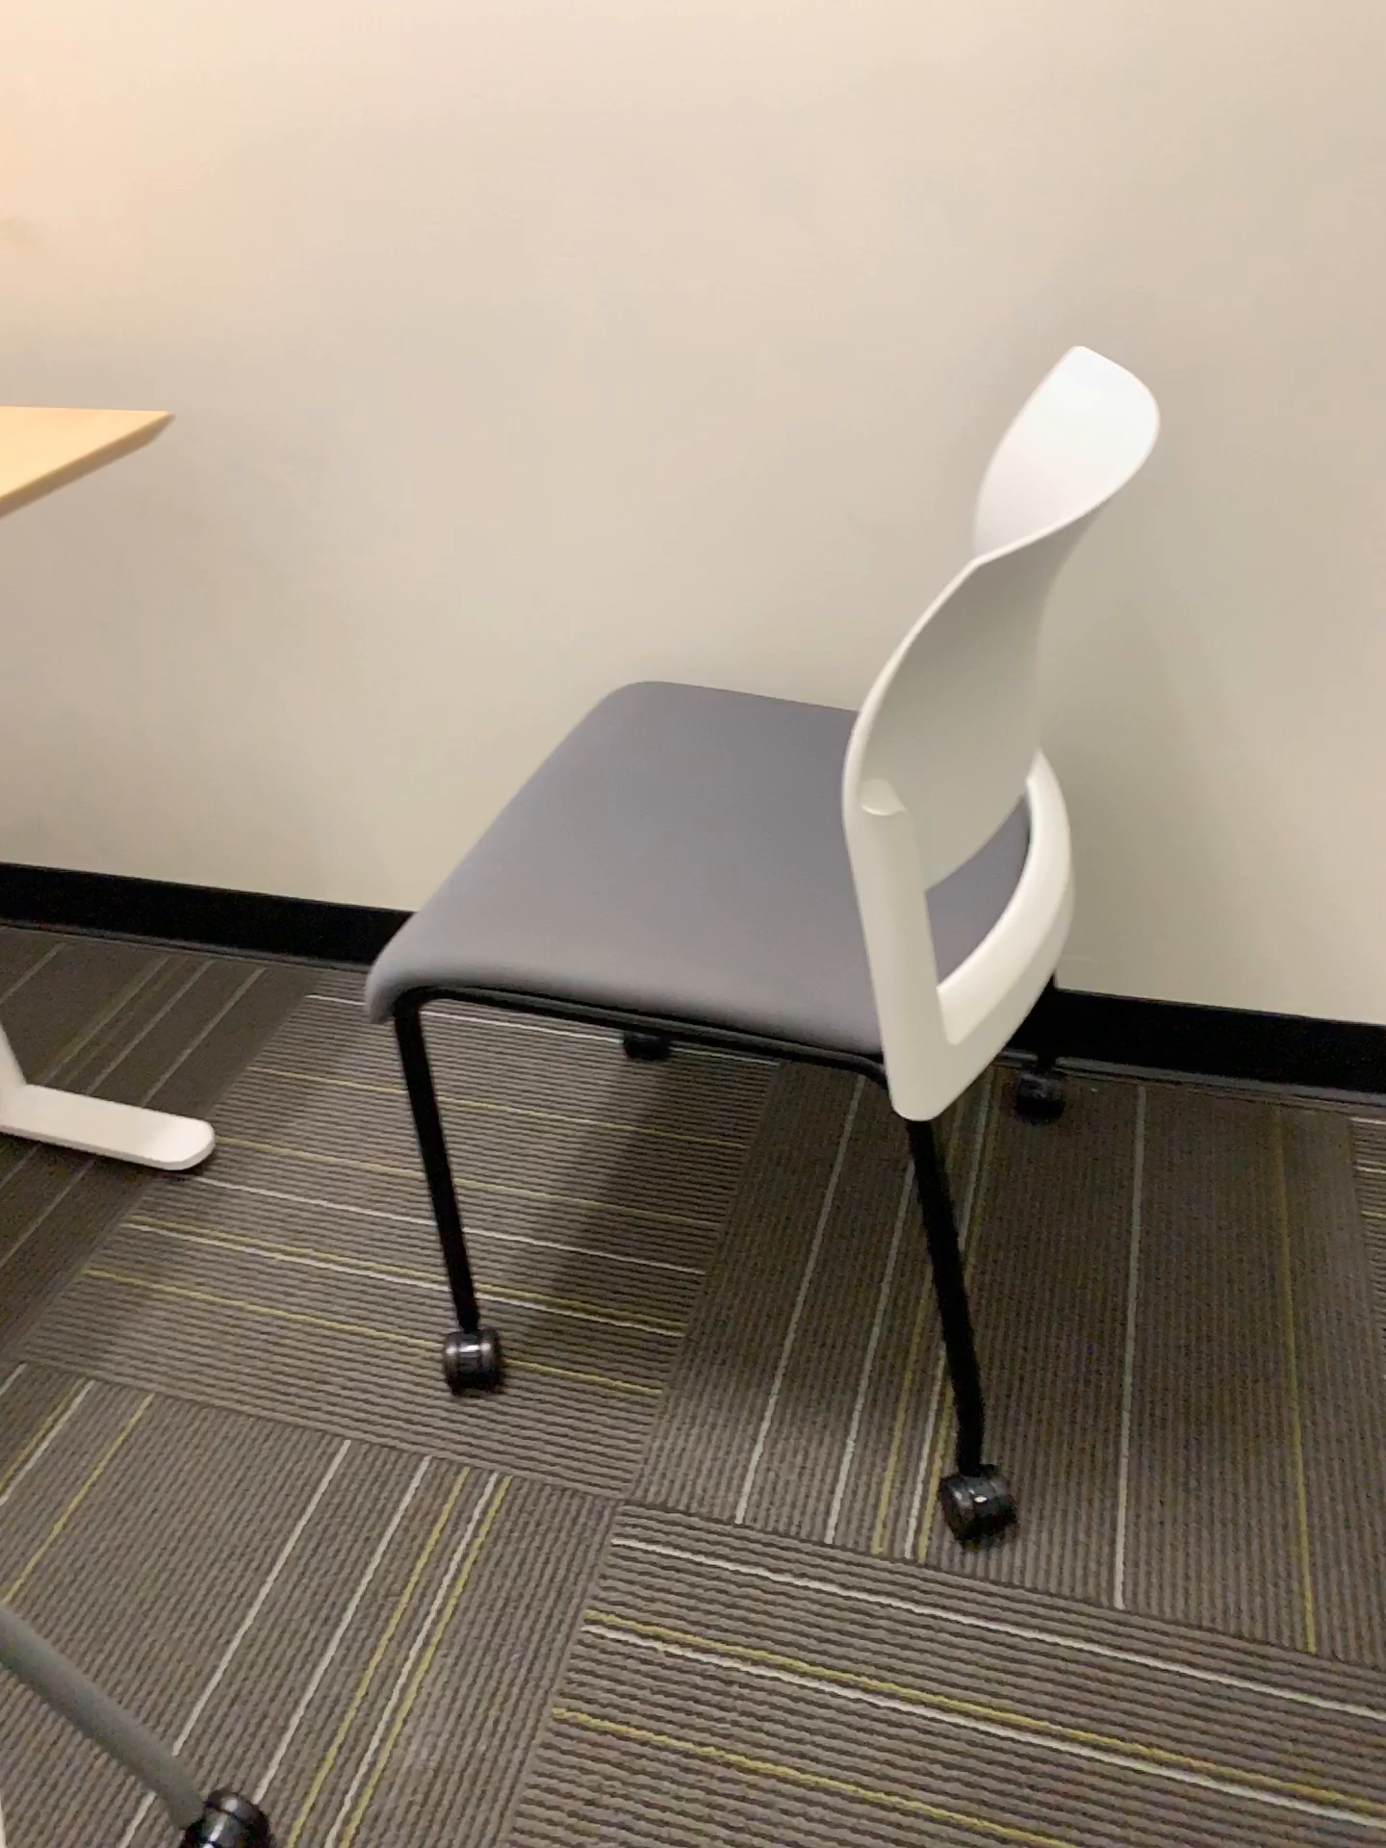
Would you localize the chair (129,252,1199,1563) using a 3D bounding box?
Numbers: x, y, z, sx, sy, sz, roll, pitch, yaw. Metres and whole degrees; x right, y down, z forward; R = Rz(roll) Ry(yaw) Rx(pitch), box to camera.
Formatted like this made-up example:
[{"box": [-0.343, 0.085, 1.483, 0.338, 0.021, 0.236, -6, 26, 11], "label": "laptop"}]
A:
[{"box": [0.063, -0.050, 1.152, 0.541, 0.805, 0.603, 8, 36, 16], "label": "chair"}]
